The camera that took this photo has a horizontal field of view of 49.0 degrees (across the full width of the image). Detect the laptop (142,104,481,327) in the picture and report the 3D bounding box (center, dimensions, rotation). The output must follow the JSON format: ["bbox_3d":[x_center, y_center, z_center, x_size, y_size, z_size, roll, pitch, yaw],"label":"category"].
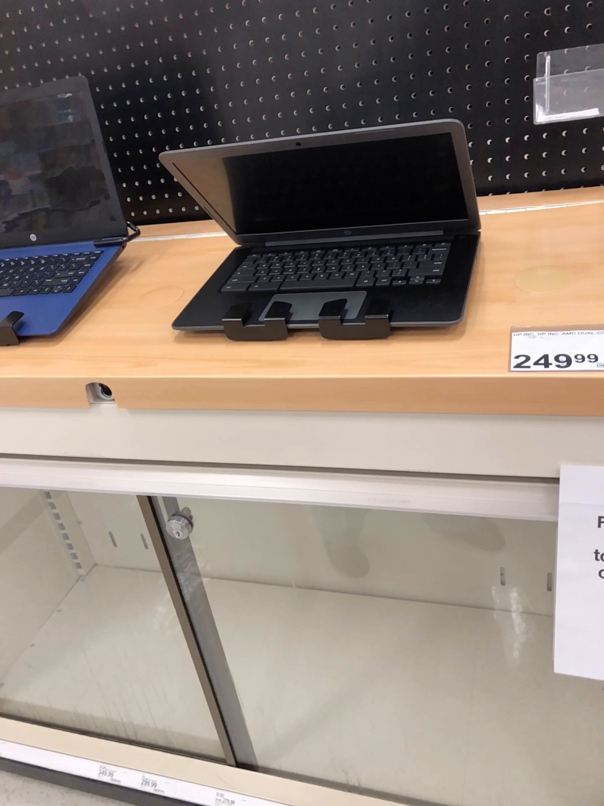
[{"bbox_3d":[0.024,-0.207,0.740,0.319,0.144,0.201,2,36,20],"label":"laptop"}]
